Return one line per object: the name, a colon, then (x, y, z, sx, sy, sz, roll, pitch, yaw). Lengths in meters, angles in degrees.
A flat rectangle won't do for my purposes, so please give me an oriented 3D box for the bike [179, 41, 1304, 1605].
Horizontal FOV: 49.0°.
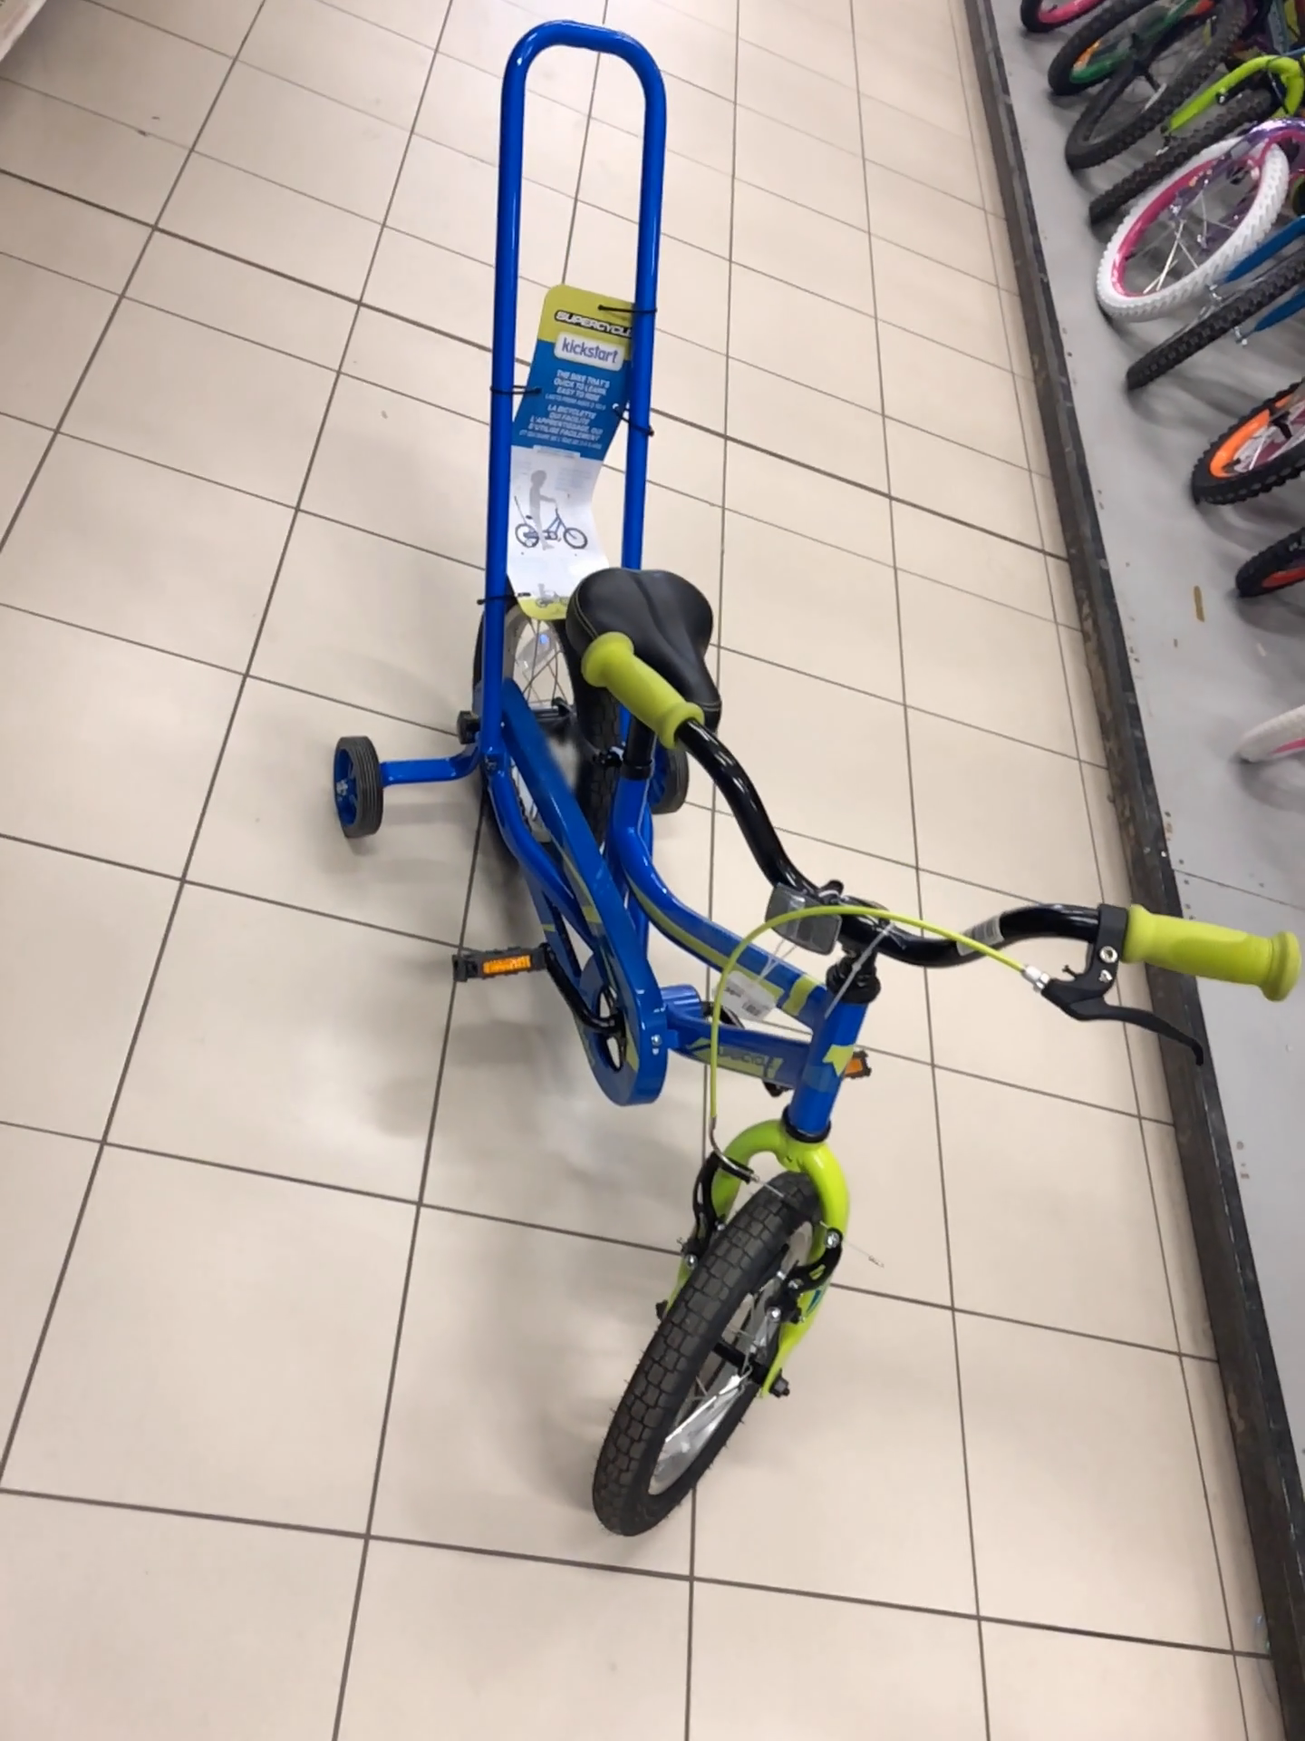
bike: (-0.048, -0.034, 1.204, 0.539, 0.763, 0.956, 5, 53, -23)
